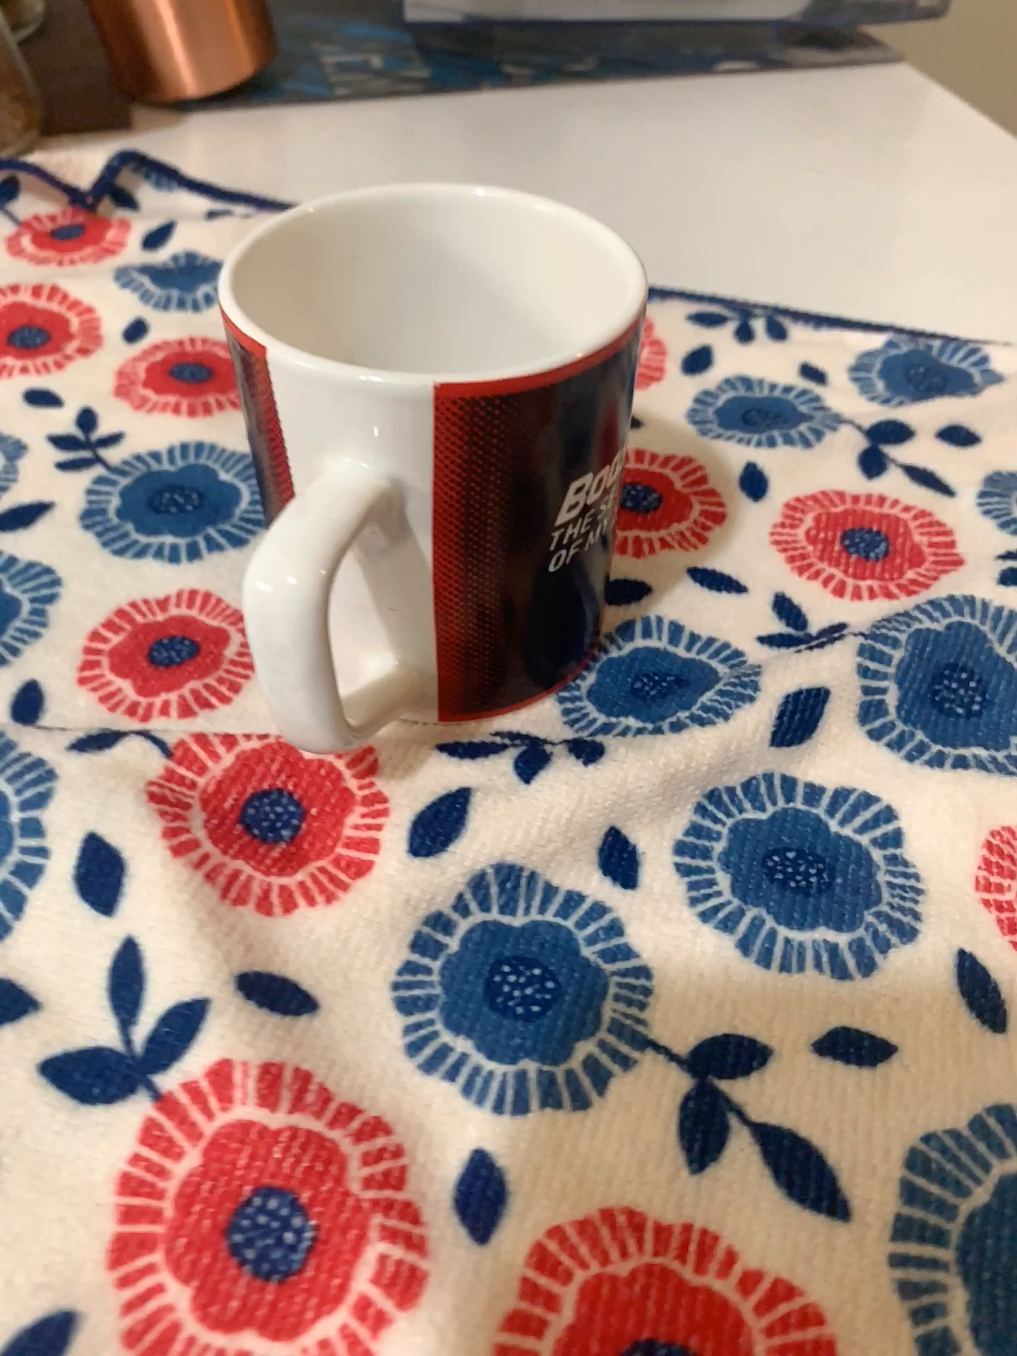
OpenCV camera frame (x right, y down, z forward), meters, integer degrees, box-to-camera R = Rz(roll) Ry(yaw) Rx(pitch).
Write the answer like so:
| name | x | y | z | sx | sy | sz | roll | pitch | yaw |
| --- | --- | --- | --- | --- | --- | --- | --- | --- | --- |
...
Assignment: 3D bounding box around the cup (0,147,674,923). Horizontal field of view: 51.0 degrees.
| name | x | y | z | sx | sy | sz | roll | pitch | yaw |
| --- | --- | --- | --- | --- | --- | --- | --- | --- | --- |
| cup | -0.022 | -0.033 | 0.208 | 0.080 | 0.089 | 0.111 | 12 | 46 | 10 |
